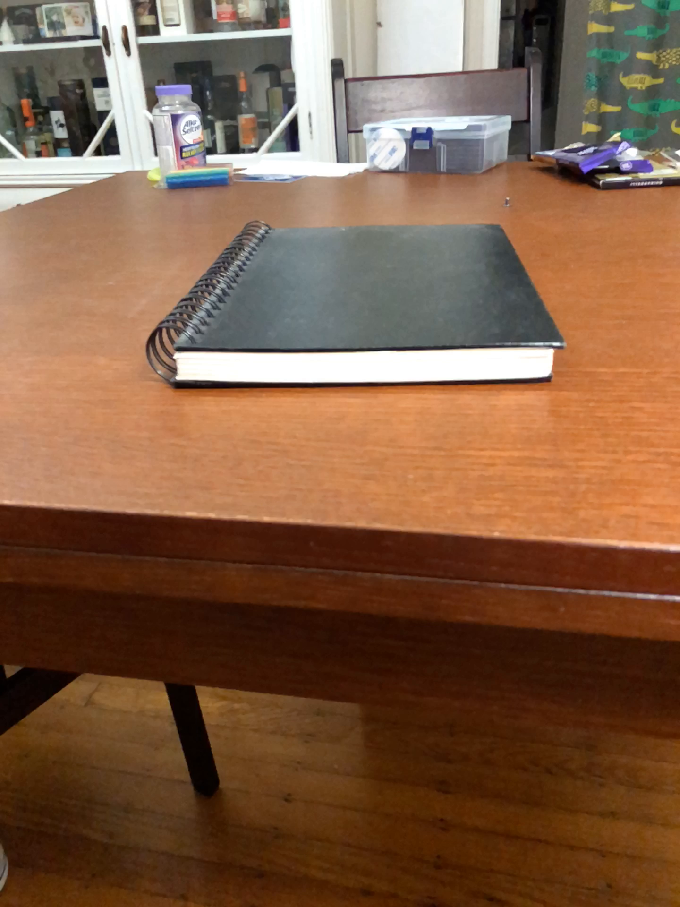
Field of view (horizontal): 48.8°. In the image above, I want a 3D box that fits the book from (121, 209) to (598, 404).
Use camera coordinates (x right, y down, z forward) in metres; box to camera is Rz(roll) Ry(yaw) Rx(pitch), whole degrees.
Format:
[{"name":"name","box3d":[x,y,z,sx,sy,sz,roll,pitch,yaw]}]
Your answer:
[{"name":"book","box3d":[0.015,-0.098,0.437,0.200,0.030,0.261,-1,28,5]}]
